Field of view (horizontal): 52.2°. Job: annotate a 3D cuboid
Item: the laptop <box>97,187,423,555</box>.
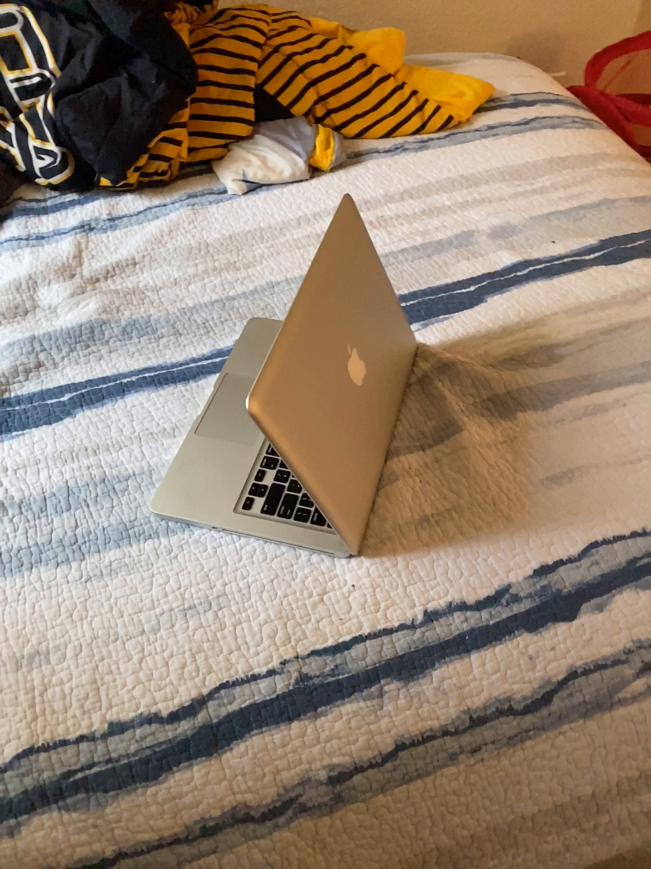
[{"bbox_3d":[-0.042,-0.081,0.703,0.220,0.191,0.316,11,51,13],"label":"laptop"}]
